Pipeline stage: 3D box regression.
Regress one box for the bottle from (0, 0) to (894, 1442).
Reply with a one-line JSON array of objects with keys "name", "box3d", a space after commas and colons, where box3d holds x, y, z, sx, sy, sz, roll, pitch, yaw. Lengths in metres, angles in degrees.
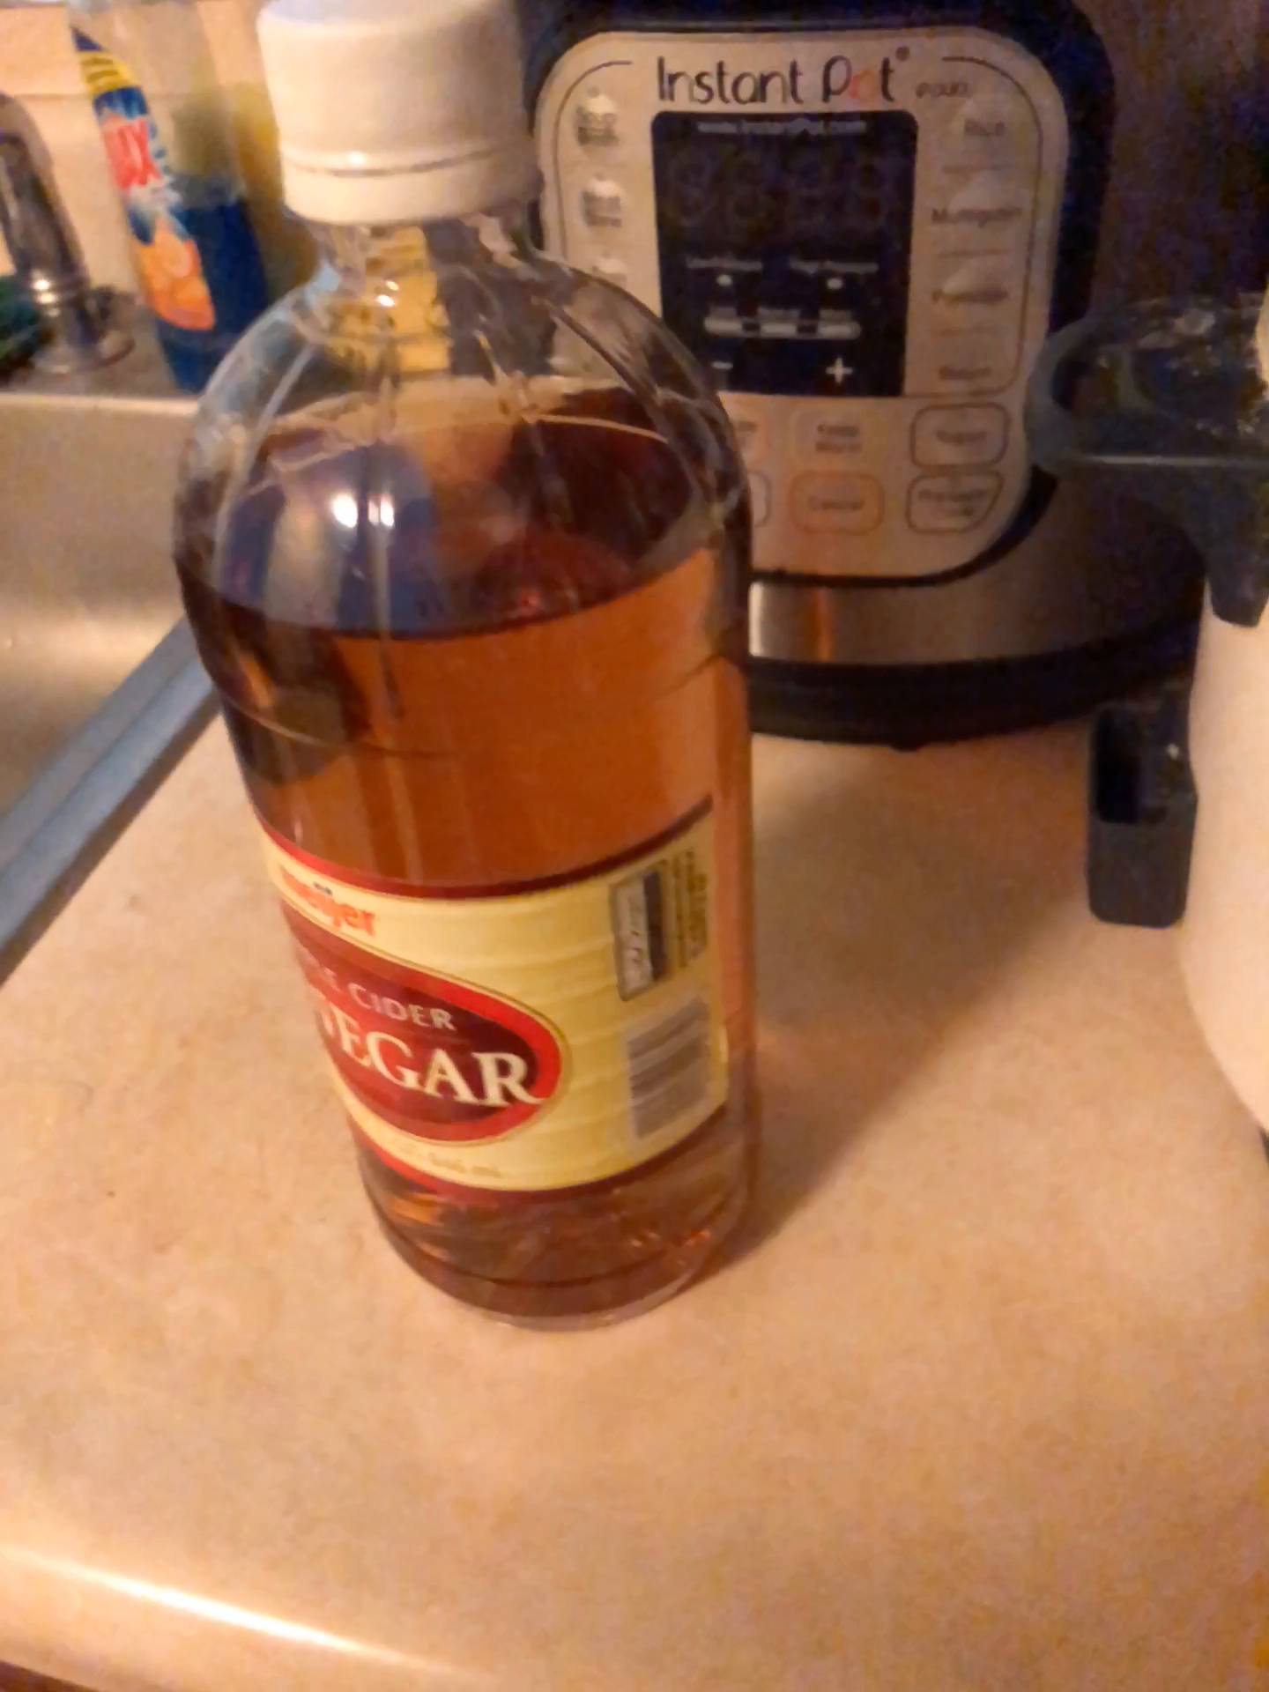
[{"name": "bottle", "box3d": [-0.023, -0.017, 0.232, 0.090, 0.229, 0.080, 27, 49, 32]}]
